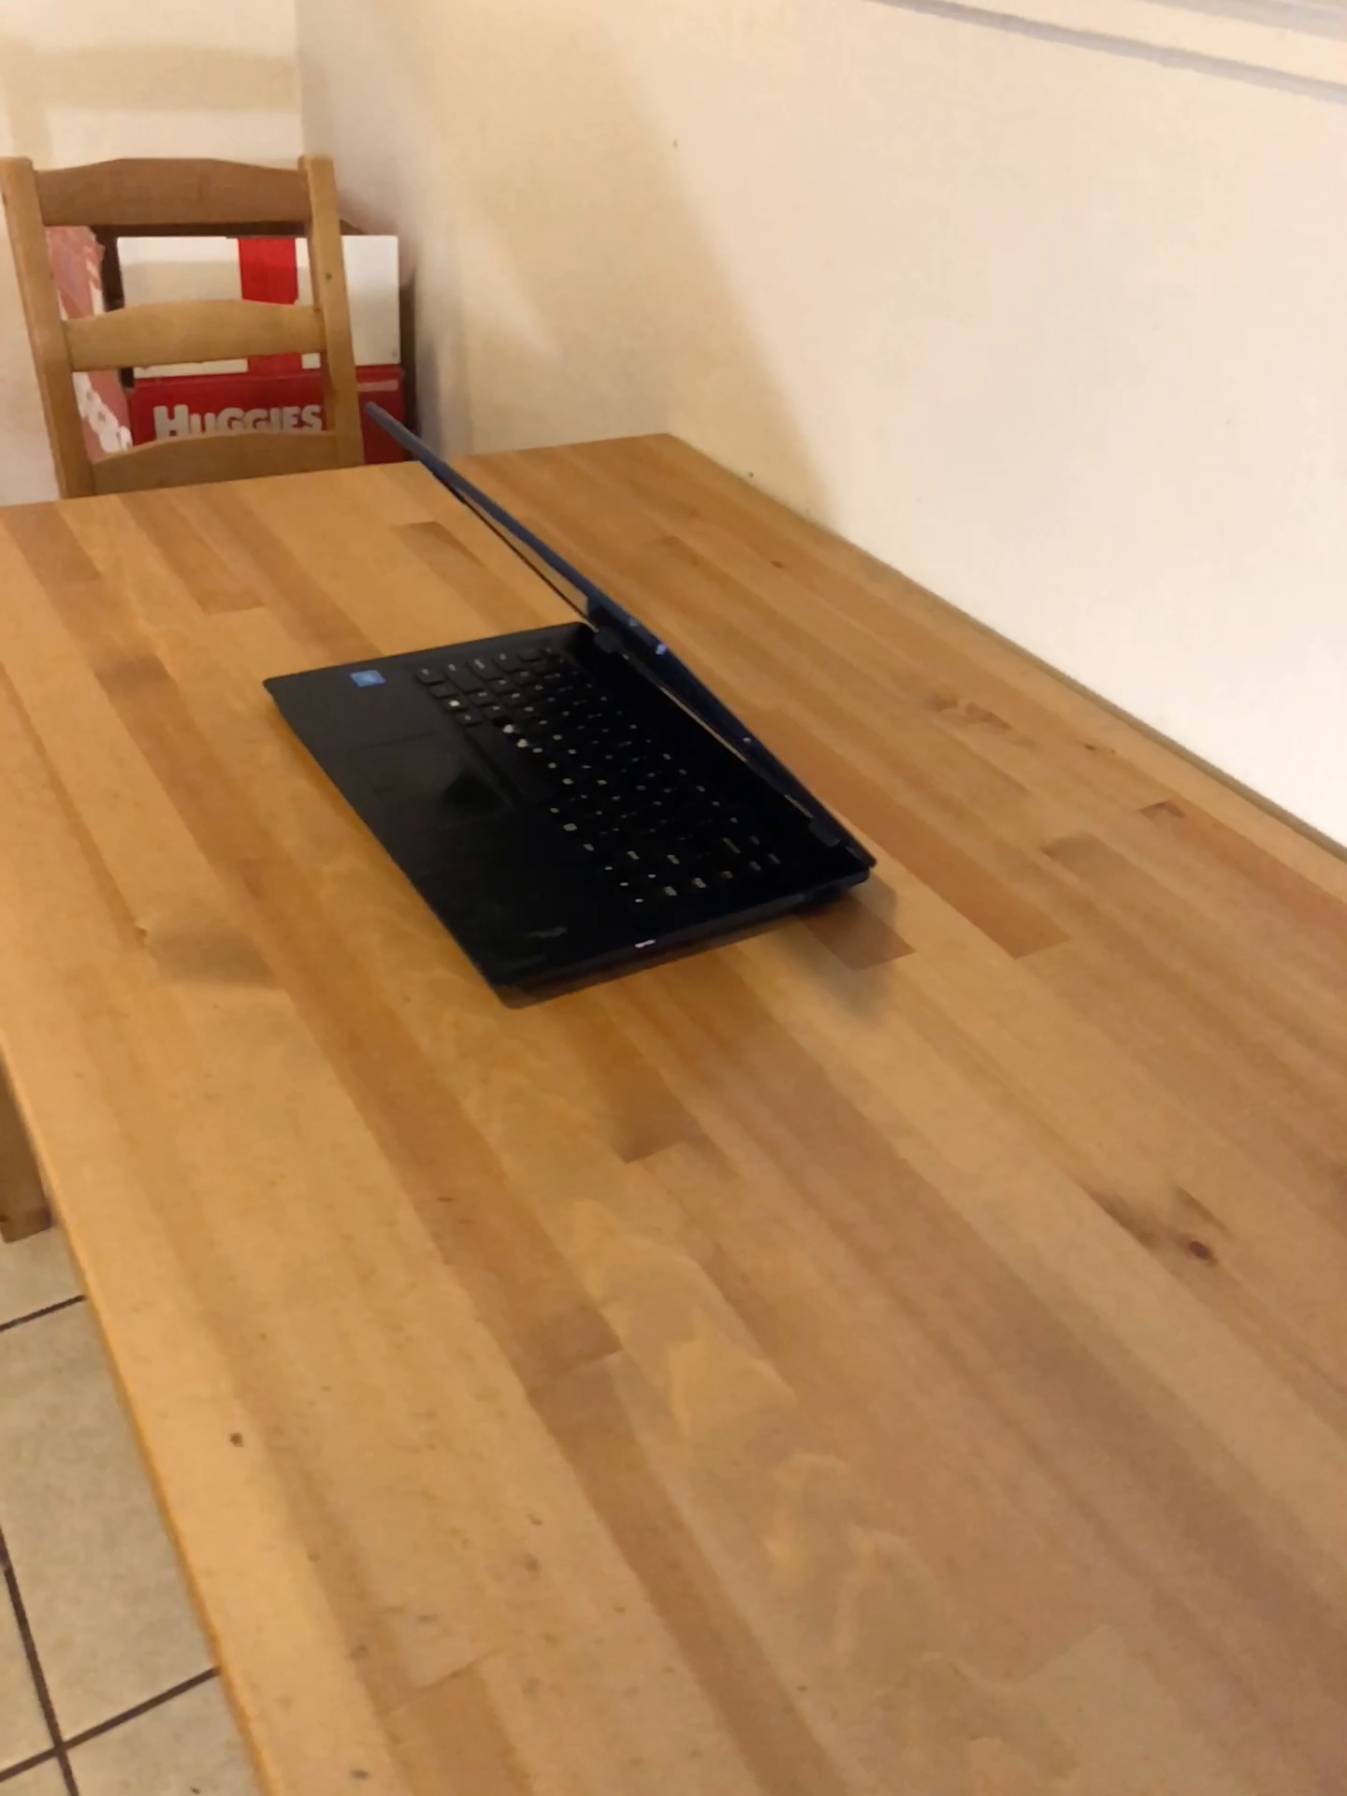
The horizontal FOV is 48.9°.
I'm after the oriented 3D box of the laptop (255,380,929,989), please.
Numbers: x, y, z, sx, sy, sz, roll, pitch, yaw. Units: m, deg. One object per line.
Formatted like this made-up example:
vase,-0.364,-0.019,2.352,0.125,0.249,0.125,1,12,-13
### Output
laptop,-0.061,-0.137,0.800,0.216,0.161,0.318,-17,42,-27
